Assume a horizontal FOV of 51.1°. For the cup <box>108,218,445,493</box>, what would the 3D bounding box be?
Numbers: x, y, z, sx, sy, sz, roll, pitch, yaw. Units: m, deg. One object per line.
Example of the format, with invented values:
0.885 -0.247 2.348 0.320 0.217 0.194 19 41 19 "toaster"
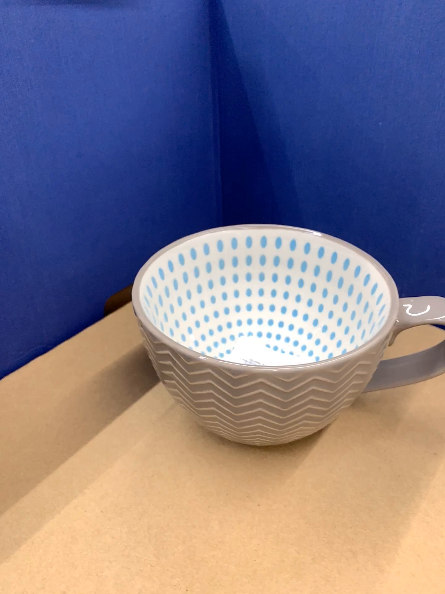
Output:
0.036 0.017 0.213 0.143 0.061 0.119 -1 32 1 "cup"
